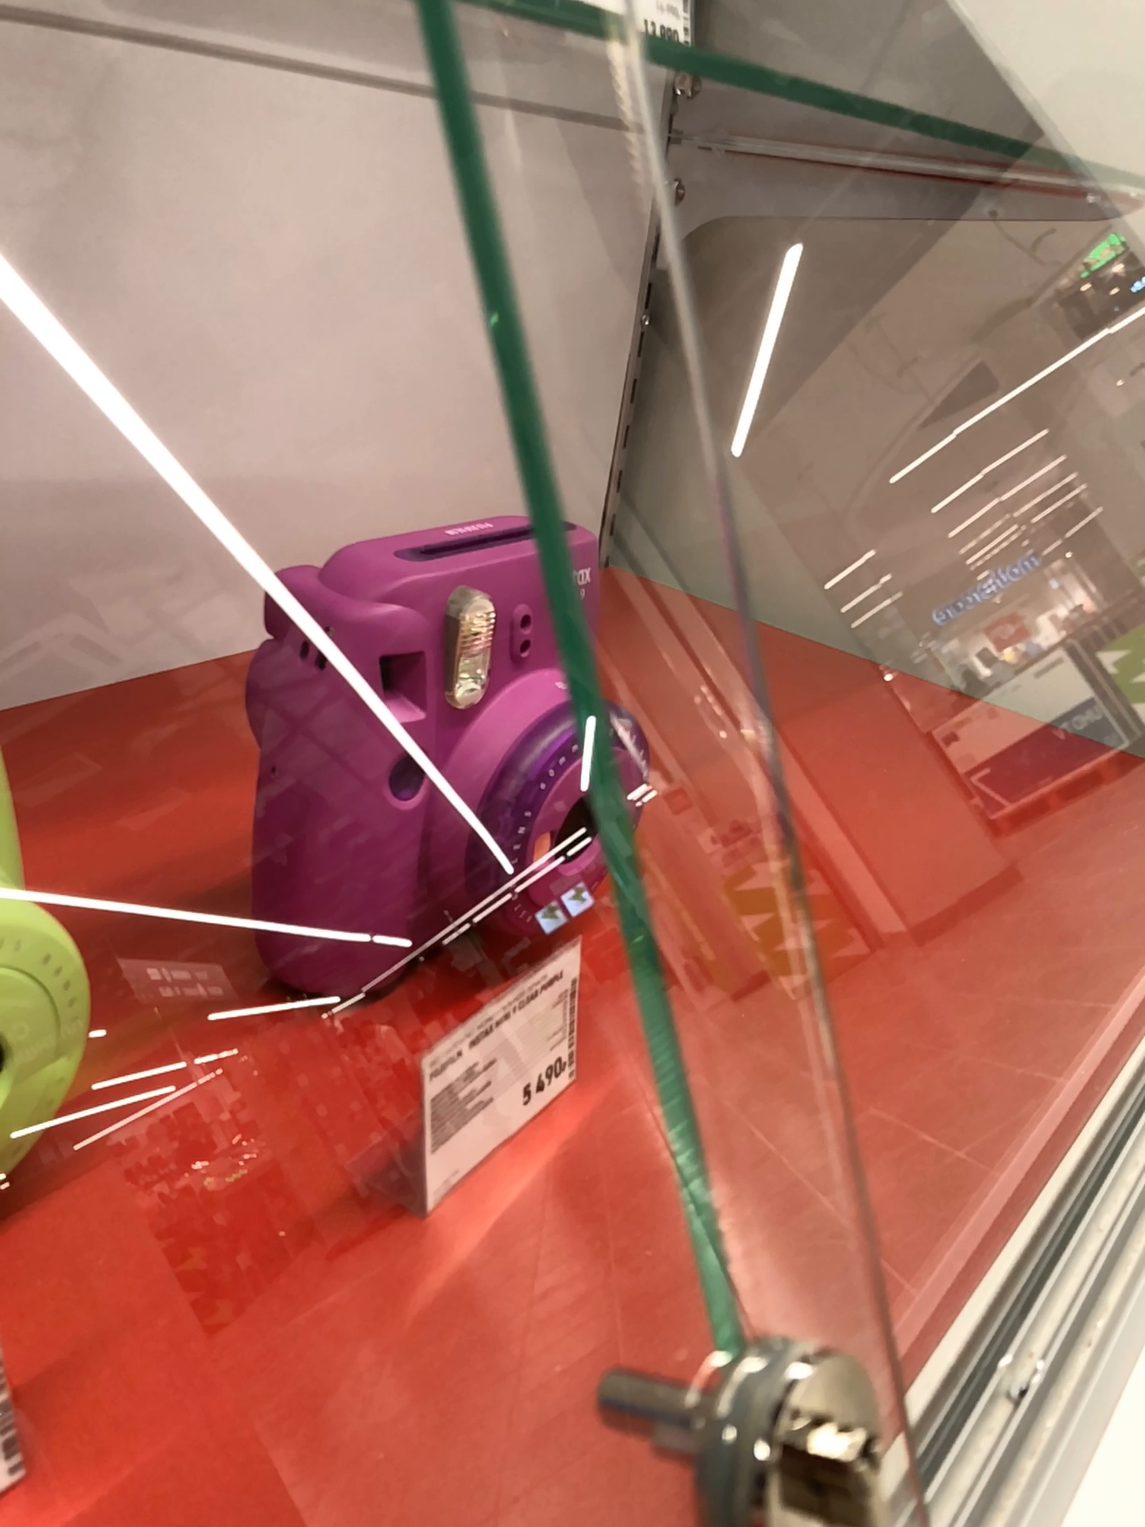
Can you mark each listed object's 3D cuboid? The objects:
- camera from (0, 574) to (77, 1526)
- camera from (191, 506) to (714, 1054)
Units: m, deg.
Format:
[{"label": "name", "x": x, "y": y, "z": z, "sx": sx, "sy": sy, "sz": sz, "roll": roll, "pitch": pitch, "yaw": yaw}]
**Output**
[{"label": "camera", "x": -0.167, "y": 0.045, "z": 0.215, "sx": 0.073, "sy": 0.118, "sz": 0.135, "roll": 22, "pitch": 27, "yaw": 26}, {"label": "camera", "x": -0.032, "y": -0.005, "z": 0.345, "sx": 0.073, "sy": 0.103, "sz": 0.117, "roll": 24, "pitch": 29, "yaw": 31}]
